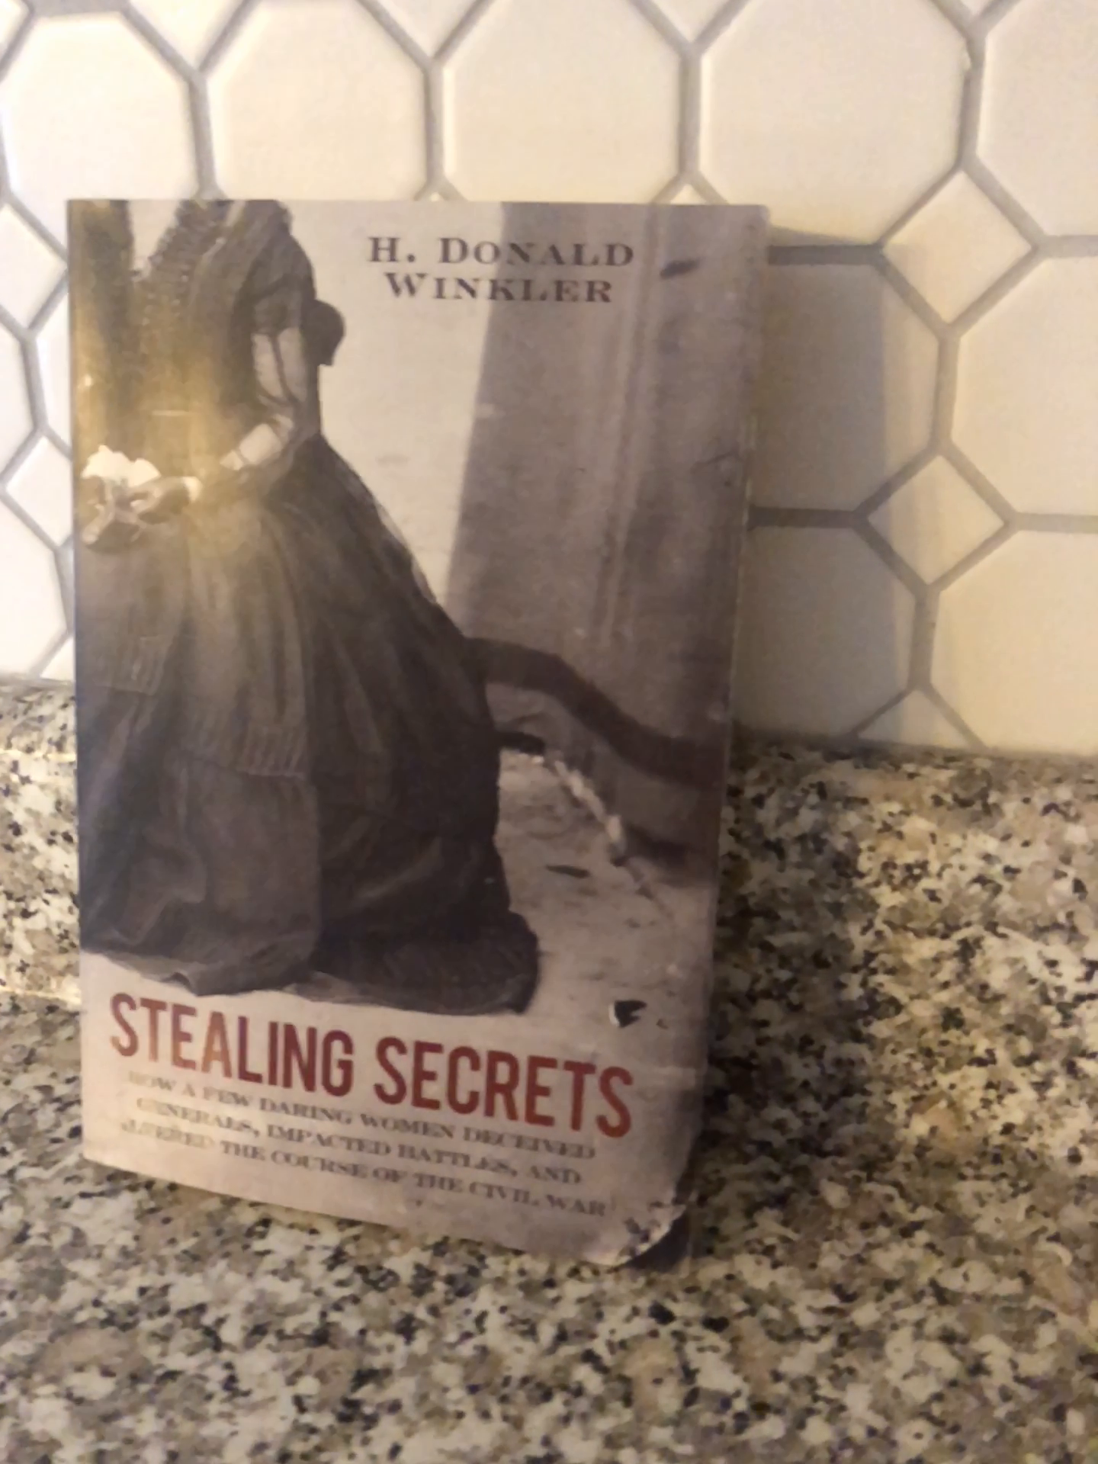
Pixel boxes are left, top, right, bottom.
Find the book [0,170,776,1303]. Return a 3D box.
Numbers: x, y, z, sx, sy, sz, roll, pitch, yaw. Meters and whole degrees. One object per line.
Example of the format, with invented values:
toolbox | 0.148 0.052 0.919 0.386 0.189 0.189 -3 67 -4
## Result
book | -0.038 0.000 0.278 0.161 0.226 0.041 4 10 14
